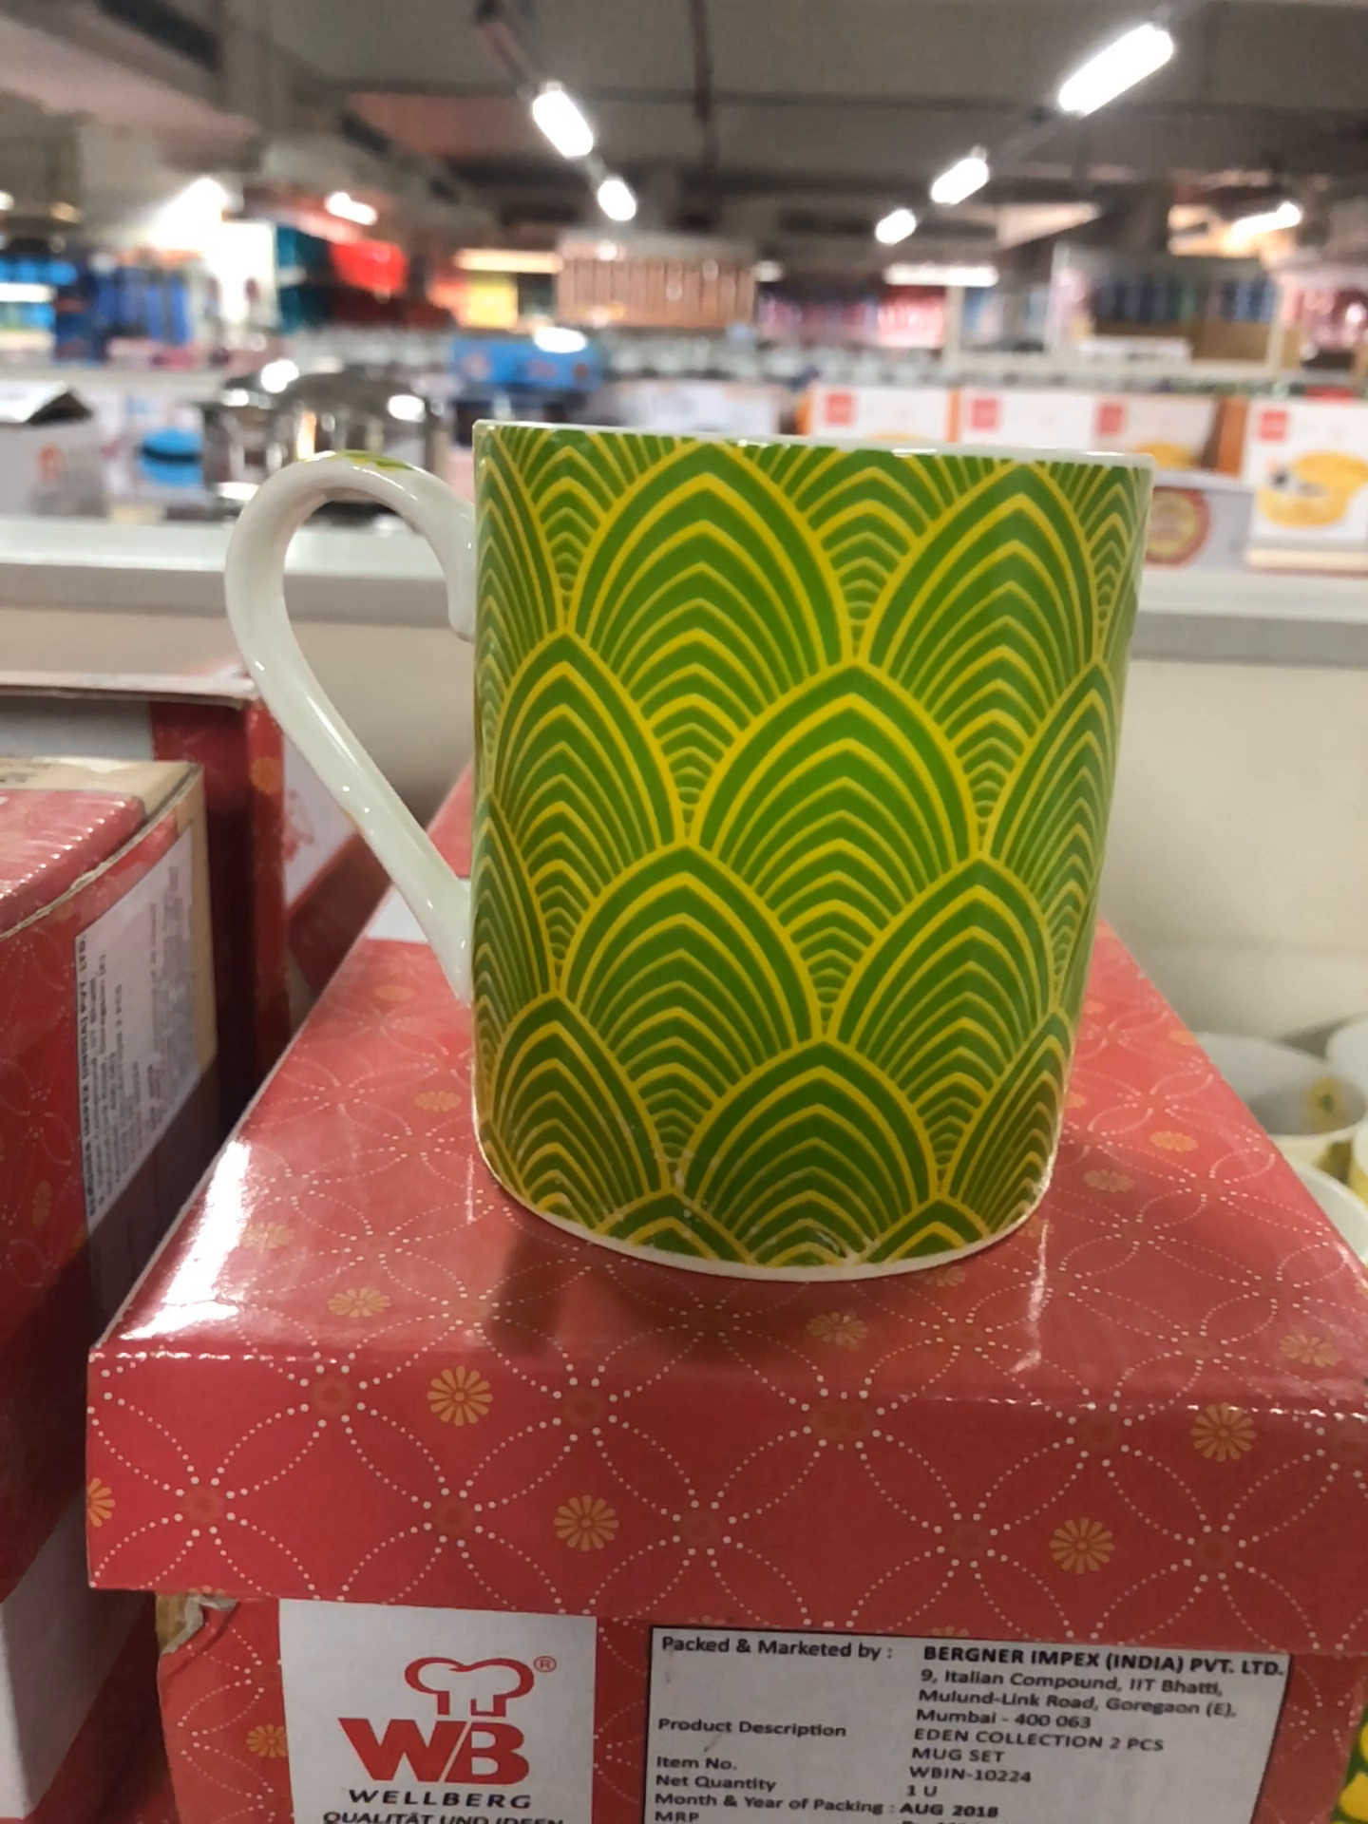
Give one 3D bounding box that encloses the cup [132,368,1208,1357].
[{"bbox_3d":[-0.001,-0.012,0.175,0.090,0.090,0.070,3,18,3],"label":"cup"}]
